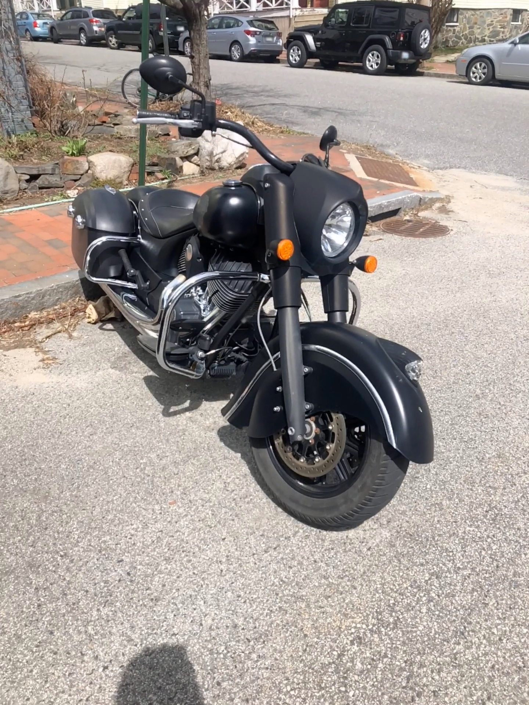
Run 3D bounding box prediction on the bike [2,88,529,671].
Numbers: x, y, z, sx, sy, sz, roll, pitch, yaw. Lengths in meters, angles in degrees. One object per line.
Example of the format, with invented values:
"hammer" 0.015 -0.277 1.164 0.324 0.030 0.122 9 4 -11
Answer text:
"bike" -0.212 -0.232 2.332 0.859 1.301 2.096 -19 35 -30
